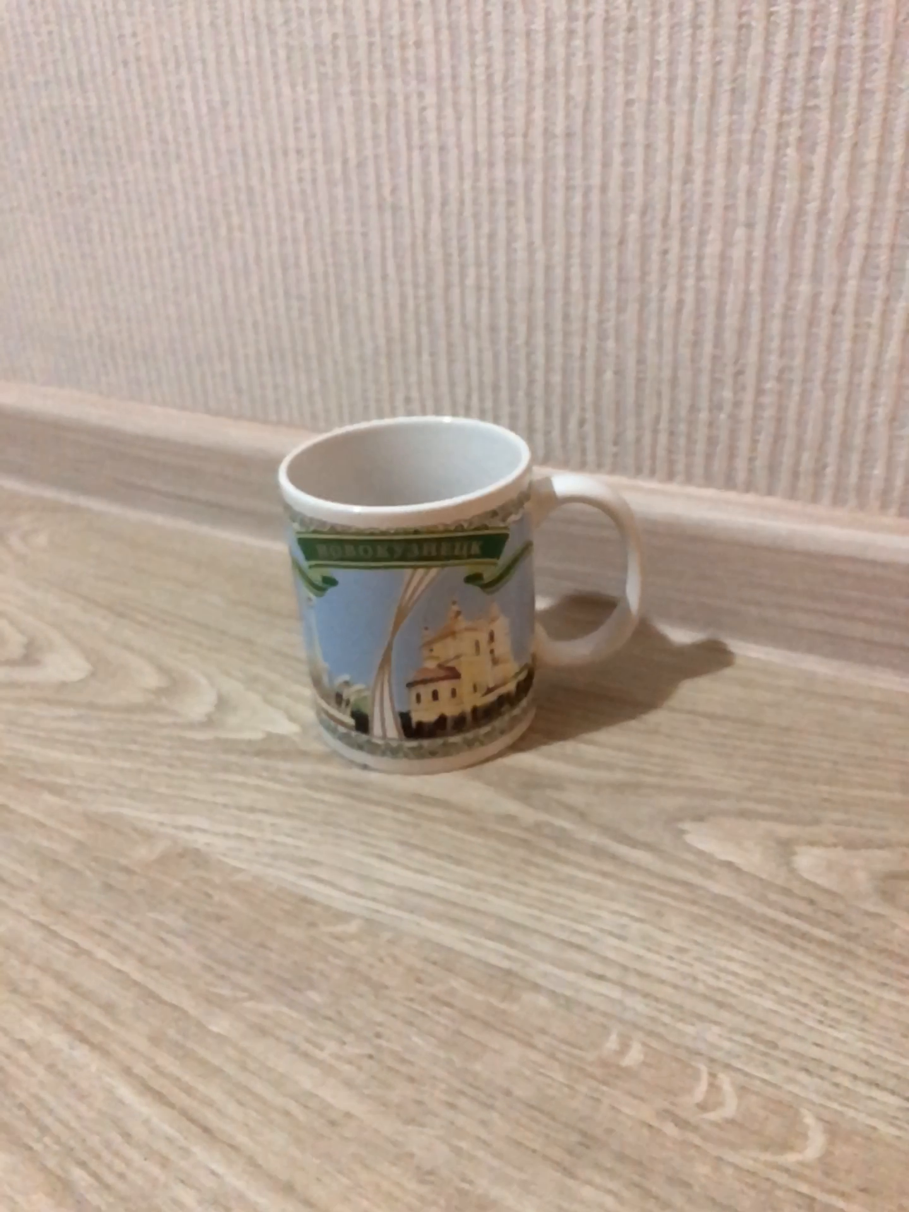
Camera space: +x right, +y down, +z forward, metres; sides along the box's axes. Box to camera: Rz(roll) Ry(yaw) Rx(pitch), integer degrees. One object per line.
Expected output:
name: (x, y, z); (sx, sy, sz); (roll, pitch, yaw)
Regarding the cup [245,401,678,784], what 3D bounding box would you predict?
cup: (0.004, -0.007, 0.340); (0.121, 0.096, 0.082); (-3, 28, 1)
